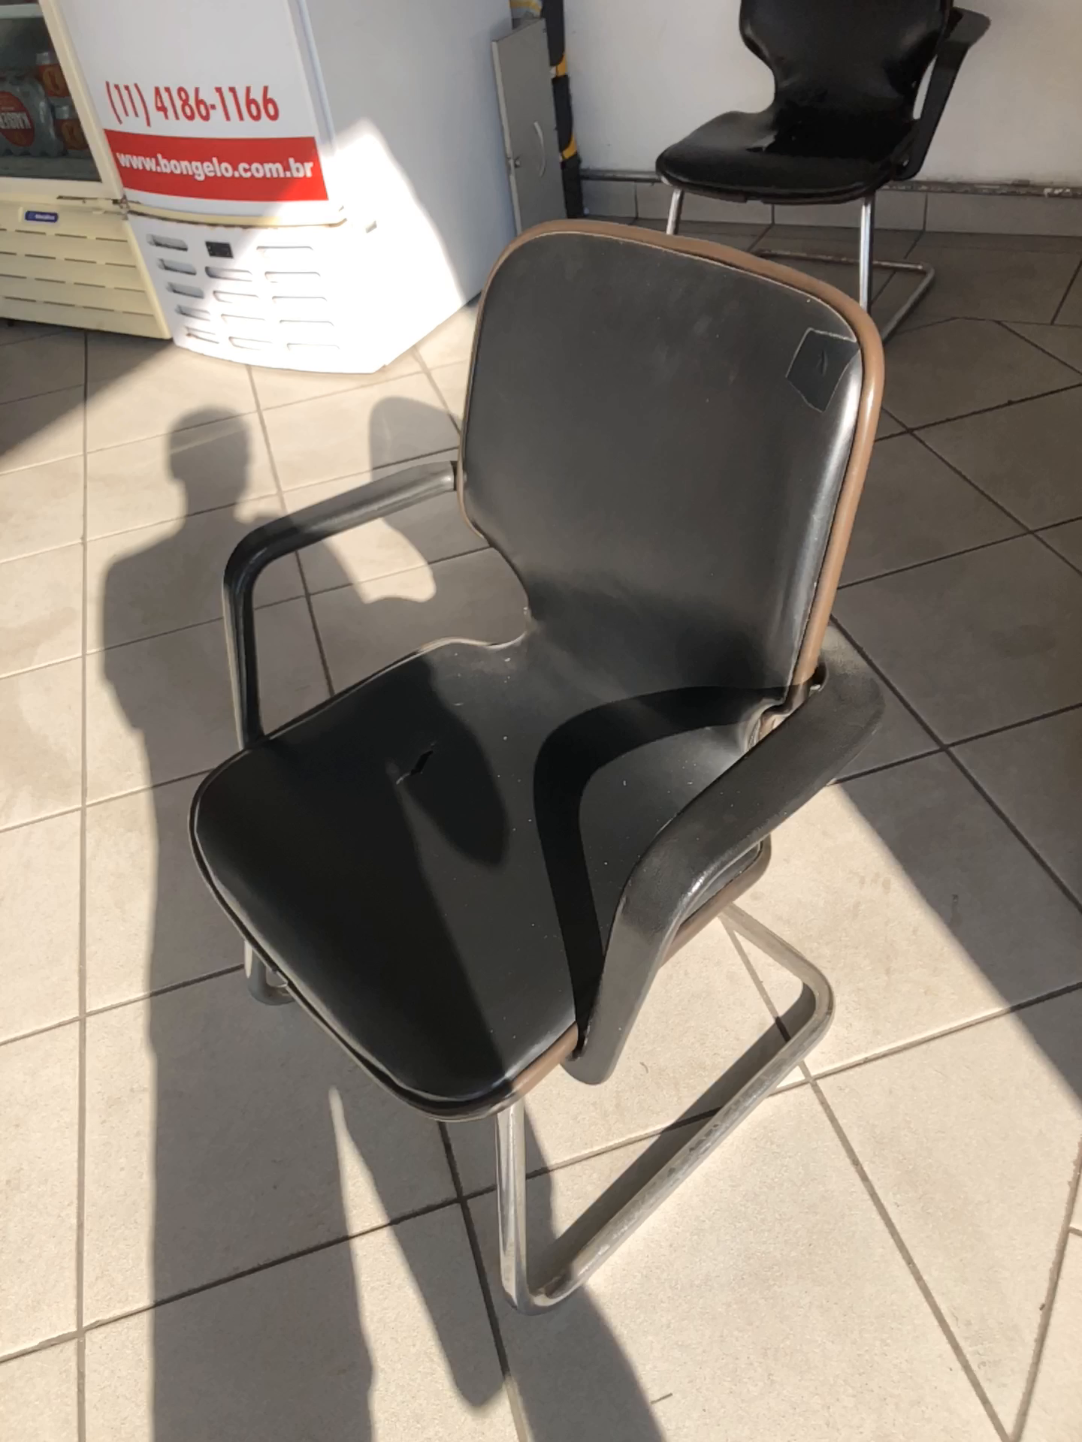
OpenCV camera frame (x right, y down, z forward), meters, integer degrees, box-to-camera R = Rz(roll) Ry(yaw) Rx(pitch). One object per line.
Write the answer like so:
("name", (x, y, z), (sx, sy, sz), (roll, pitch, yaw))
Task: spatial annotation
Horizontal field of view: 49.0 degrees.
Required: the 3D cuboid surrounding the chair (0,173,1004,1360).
("chair", (-0.025, 0.023, 1.168), (0.581, 0.824, 0.583), (-33, 45, -25))
